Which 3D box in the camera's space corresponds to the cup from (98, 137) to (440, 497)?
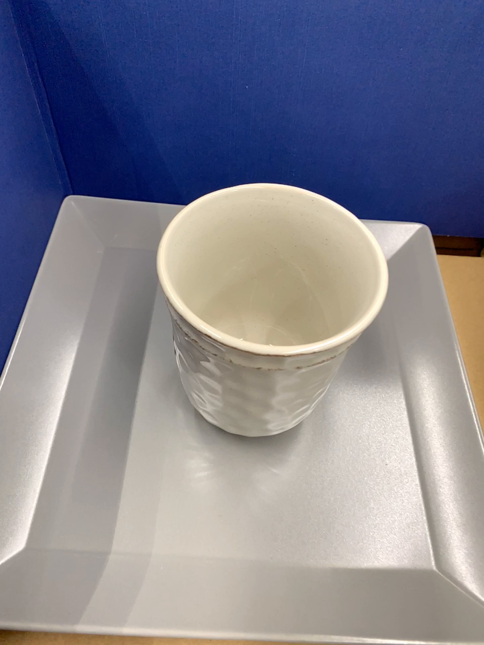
[{"bbox_3d":[0.017,-0.008,0.241,0.101,0.082,0.123,23,54,14],"label":"cup"}]
